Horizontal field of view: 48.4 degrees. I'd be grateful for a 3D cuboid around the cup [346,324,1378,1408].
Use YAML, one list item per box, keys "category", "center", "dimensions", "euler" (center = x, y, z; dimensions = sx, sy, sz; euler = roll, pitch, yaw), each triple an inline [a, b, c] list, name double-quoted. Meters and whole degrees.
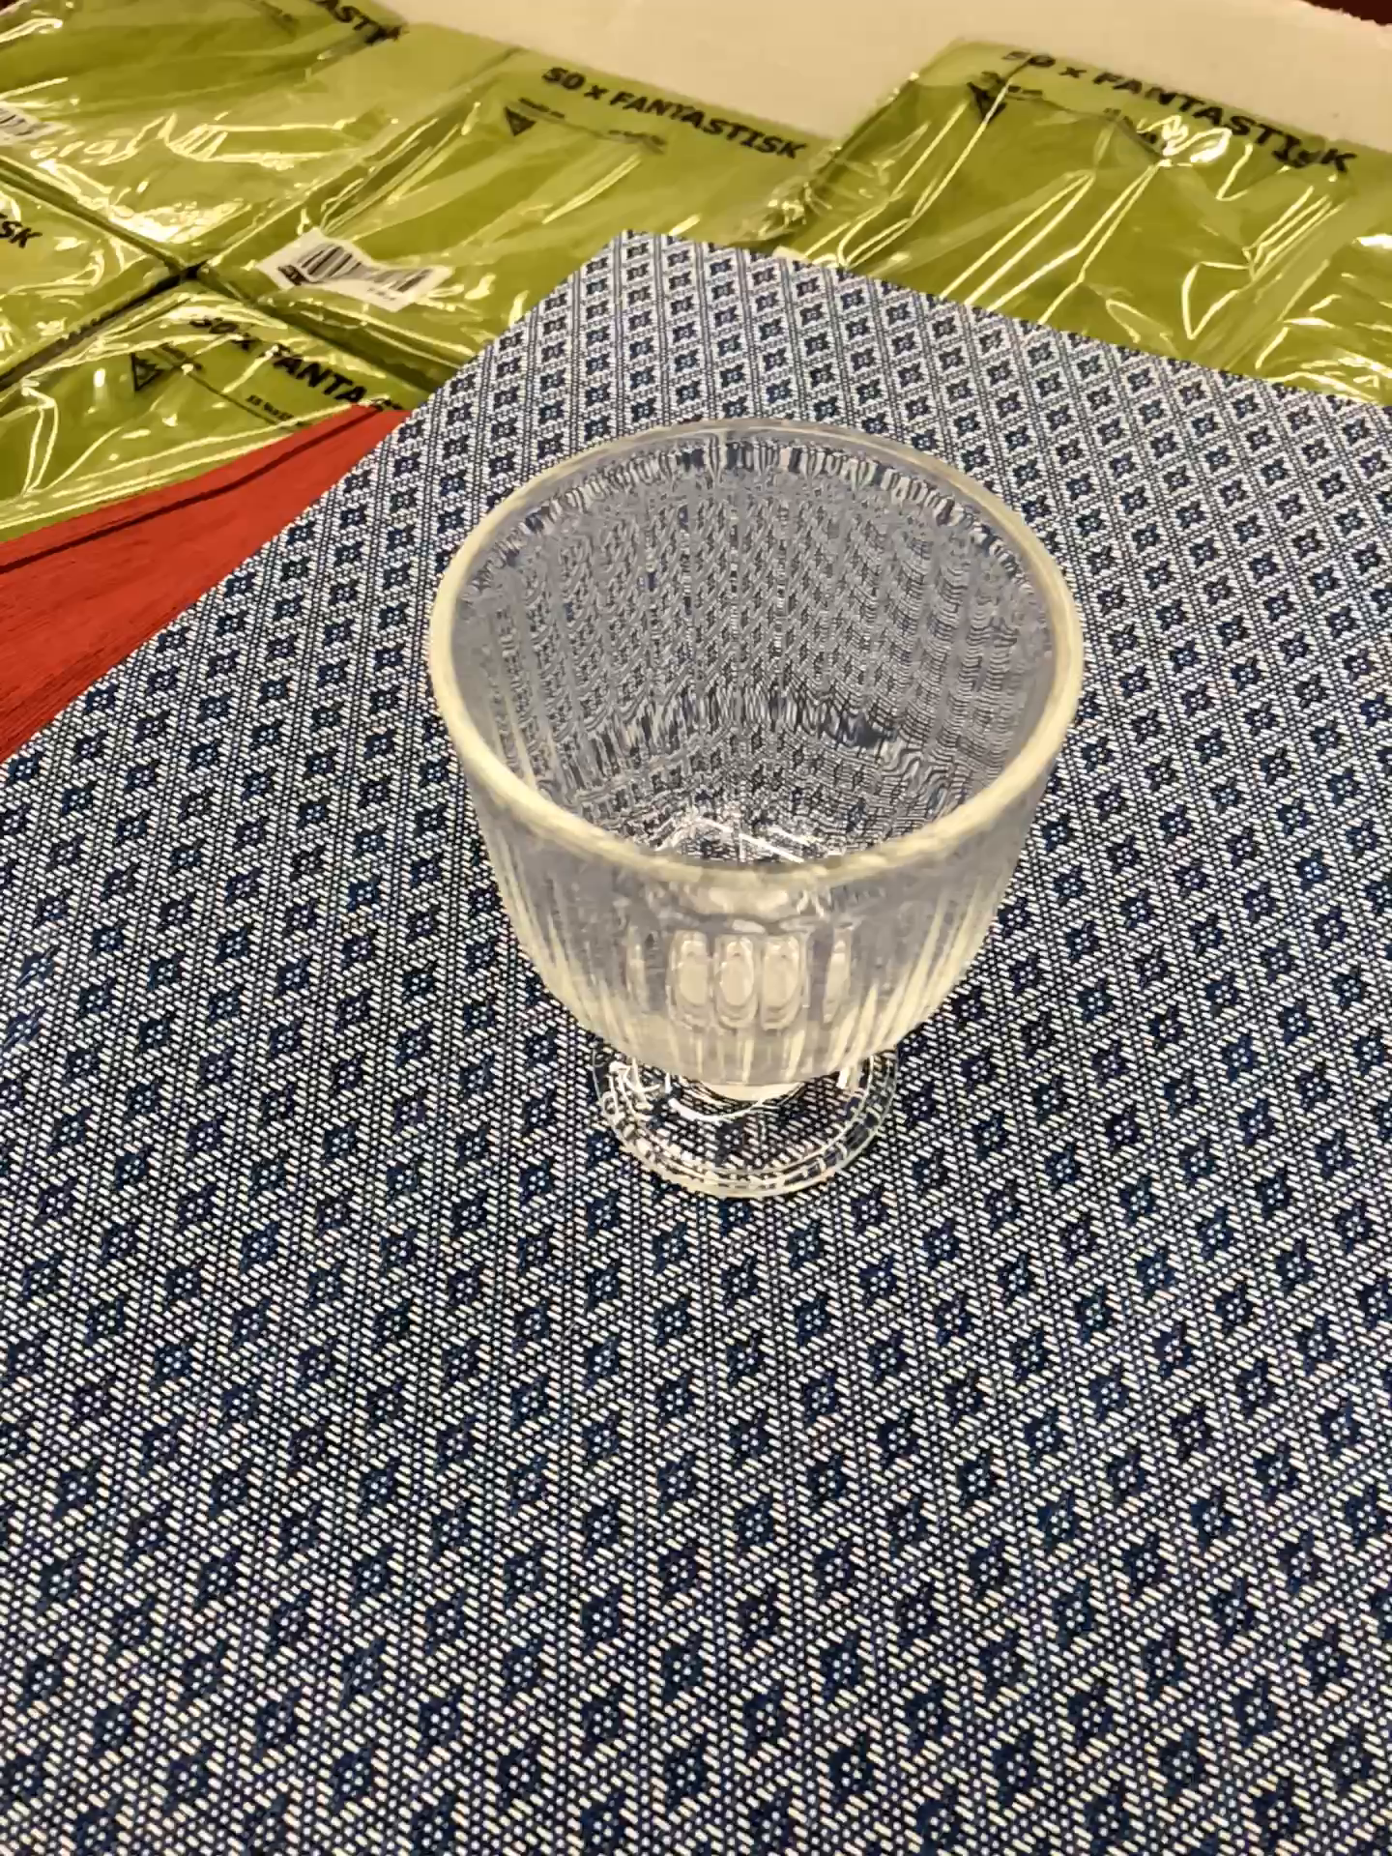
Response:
- category: "cup"
  center: [0.023, -0.010, 0.256]
  dimensions: [0.100, 0.110, 0.100]
  euler: [-1, 53, 1]
